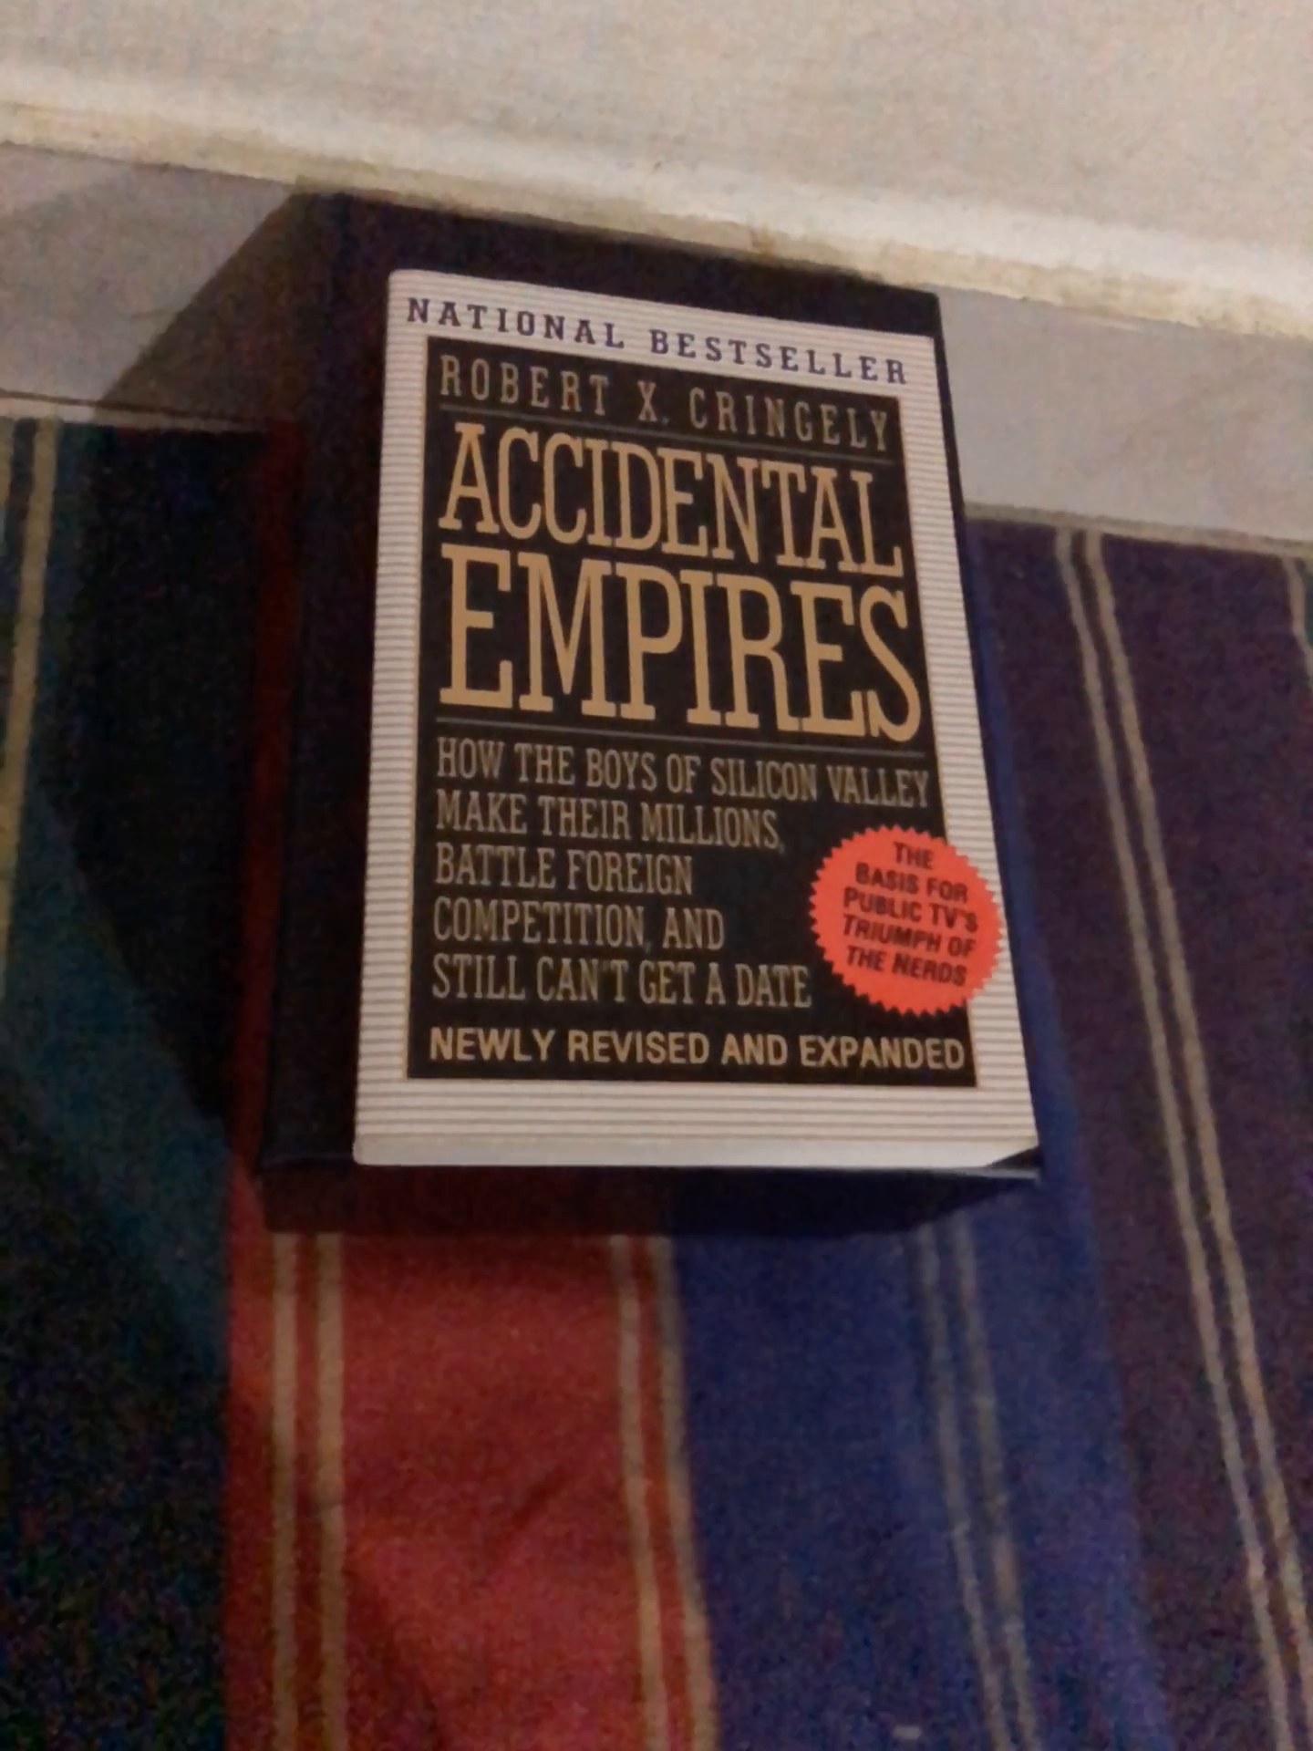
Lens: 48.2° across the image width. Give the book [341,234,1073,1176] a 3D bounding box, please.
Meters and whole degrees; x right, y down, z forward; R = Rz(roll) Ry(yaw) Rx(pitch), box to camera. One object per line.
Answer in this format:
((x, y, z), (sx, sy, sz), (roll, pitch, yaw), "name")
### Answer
((0.005, -0.036, 0.307), (0.130, 0.040, 0.190), (3, 68, -14), "book")
